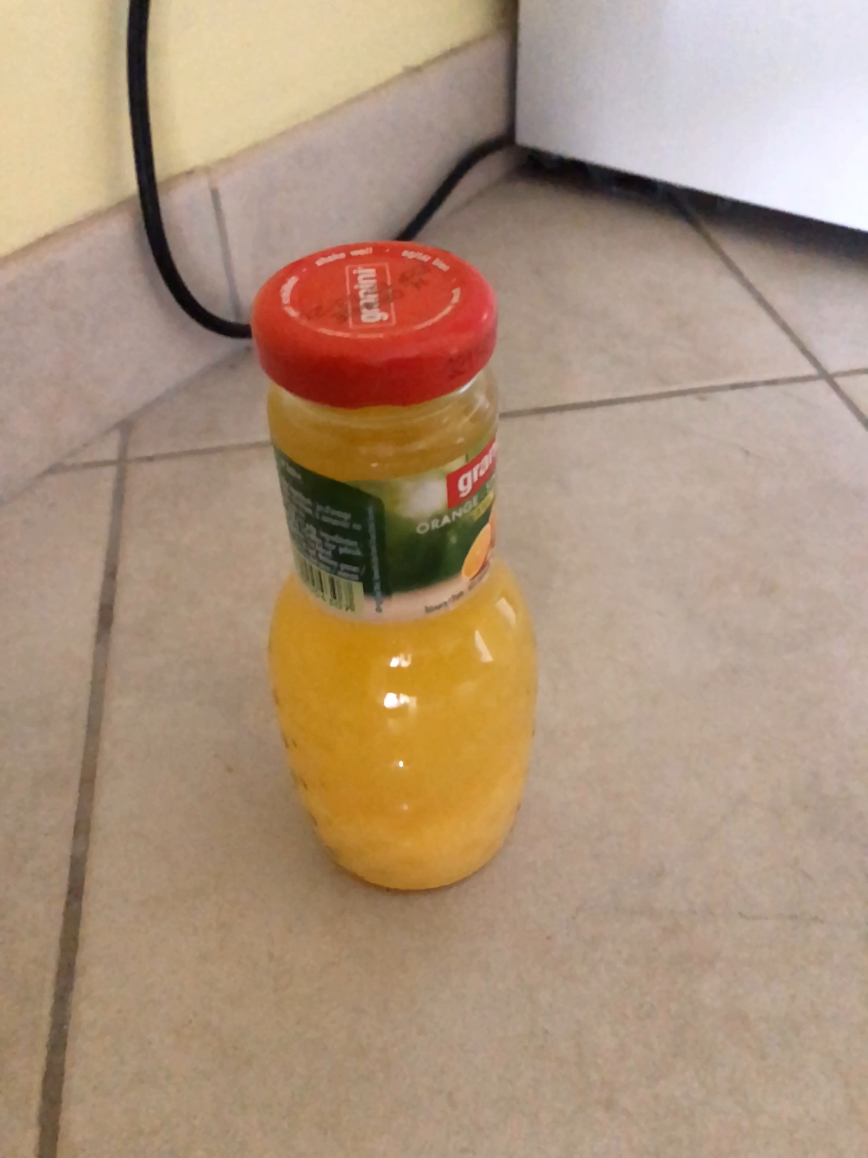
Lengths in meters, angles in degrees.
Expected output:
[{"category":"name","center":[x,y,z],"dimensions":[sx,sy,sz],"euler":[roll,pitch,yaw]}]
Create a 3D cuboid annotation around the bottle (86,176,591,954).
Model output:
[{"category":"bottle","center":[-0.011,0.007,0.218],"dimensions":[0.060,0.159,0.070],"euler":[15,47,16]}]
